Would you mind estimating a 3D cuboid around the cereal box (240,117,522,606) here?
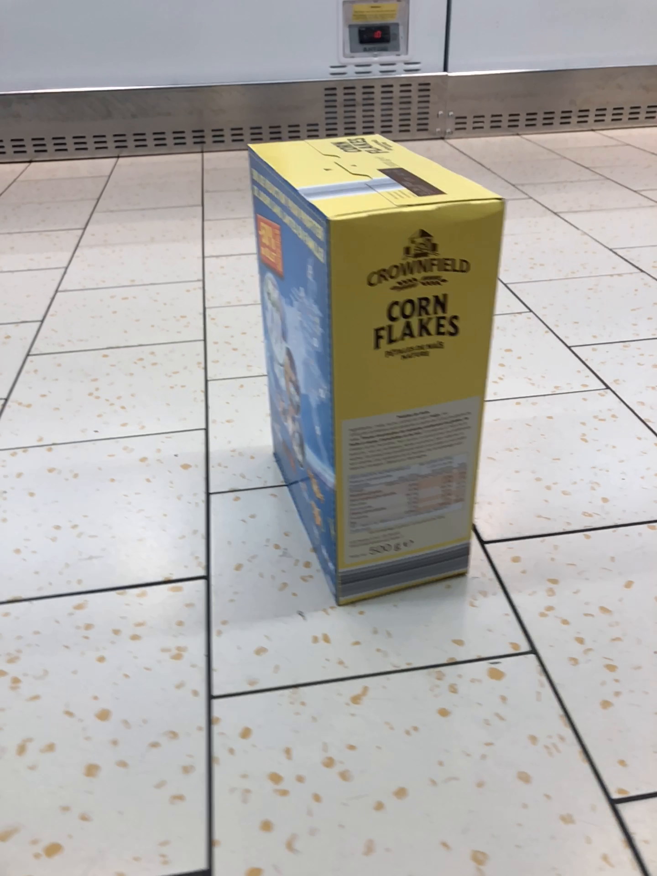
[{"bbox_3d":[0.021,-0.061,0.491,0.100,0.258,0.201,-11,32,-14],"label":"cereal box"}]
